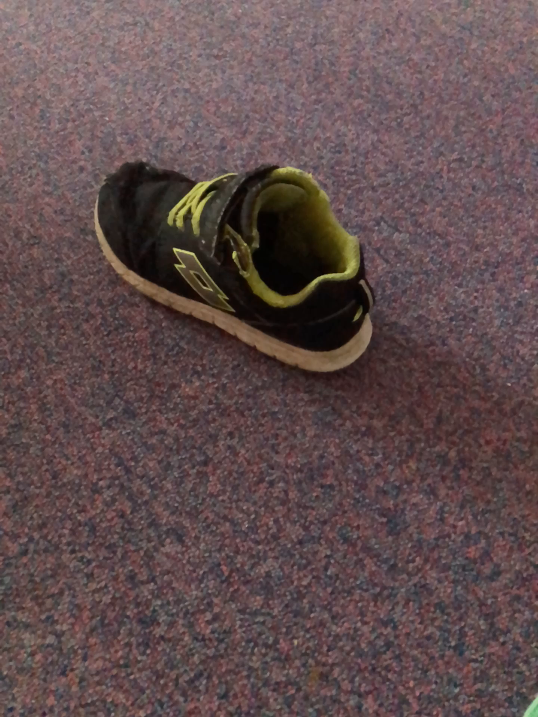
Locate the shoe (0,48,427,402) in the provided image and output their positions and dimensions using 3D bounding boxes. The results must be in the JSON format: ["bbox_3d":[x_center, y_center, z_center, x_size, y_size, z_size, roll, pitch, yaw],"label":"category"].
[{"bbox_3d":[-0.035,-0.083,0.364,0.220,0.100,0.090,29,62,14],"label":"shoe"}]
